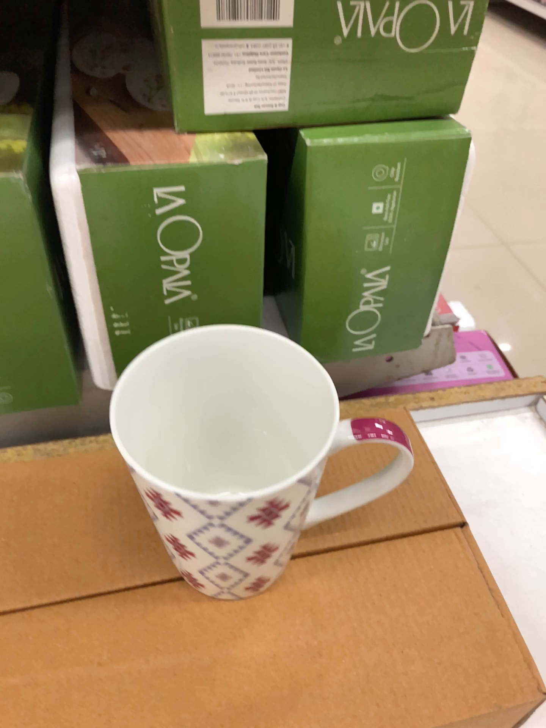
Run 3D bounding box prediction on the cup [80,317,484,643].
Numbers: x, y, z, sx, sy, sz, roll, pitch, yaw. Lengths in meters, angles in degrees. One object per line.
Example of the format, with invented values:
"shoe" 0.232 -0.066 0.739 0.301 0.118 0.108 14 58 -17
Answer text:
"cup" 0.000 0.046 0.243 0.120 0.099 0.080 -1 42 -4
